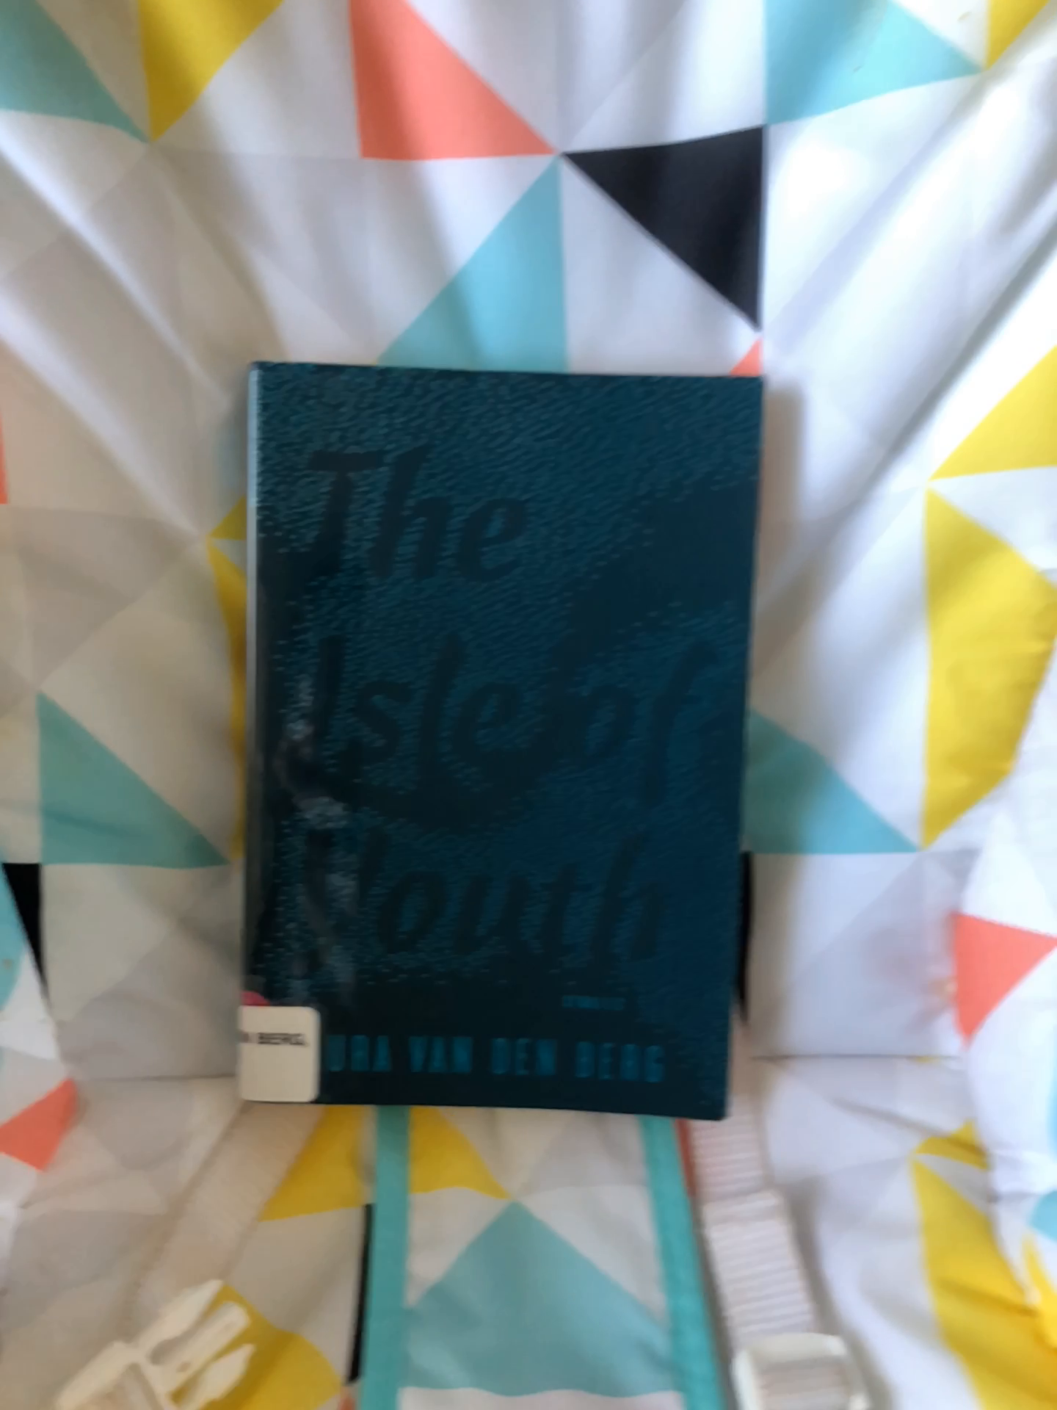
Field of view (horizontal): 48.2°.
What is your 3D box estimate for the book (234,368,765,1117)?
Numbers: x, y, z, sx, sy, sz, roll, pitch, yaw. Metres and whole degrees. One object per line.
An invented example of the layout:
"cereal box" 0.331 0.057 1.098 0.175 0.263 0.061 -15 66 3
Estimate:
"book" -0.008 0.010 0.302 0.124 0.032 0.180 1 96 0
